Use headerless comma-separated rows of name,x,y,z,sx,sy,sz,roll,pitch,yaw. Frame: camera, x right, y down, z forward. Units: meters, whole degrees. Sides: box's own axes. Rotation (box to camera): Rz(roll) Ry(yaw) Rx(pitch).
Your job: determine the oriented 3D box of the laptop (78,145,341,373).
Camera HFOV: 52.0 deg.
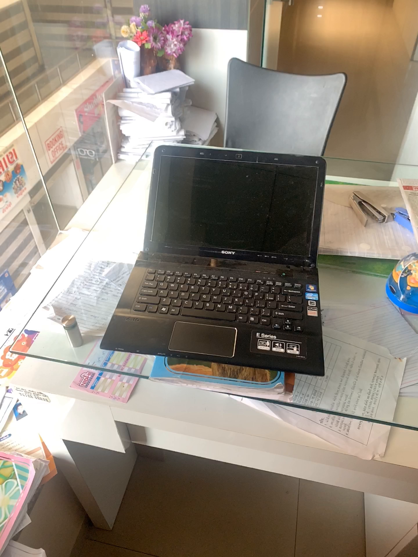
laptop,0.022,-0.055,0.619,0.285,0.111,0.338,6,43,7
